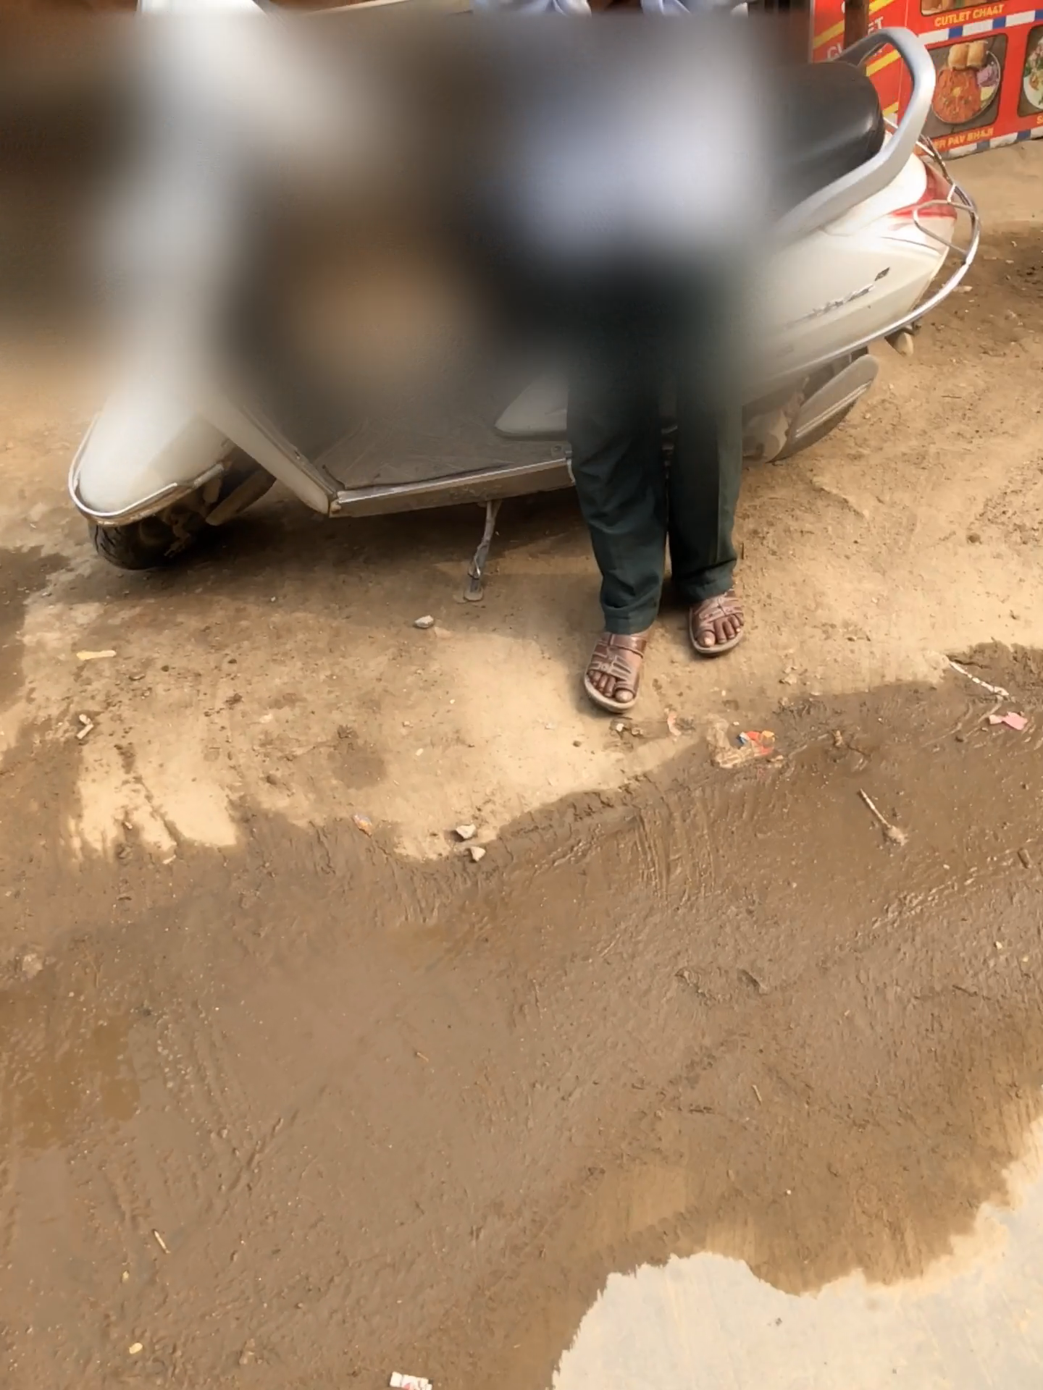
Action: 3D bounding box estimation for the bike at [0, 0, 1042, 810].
[{"bbox_3d":[-0.080,-0.615,1.909,1.575,1.112,0.659,-13,42,-4],"label":"bike"}]
